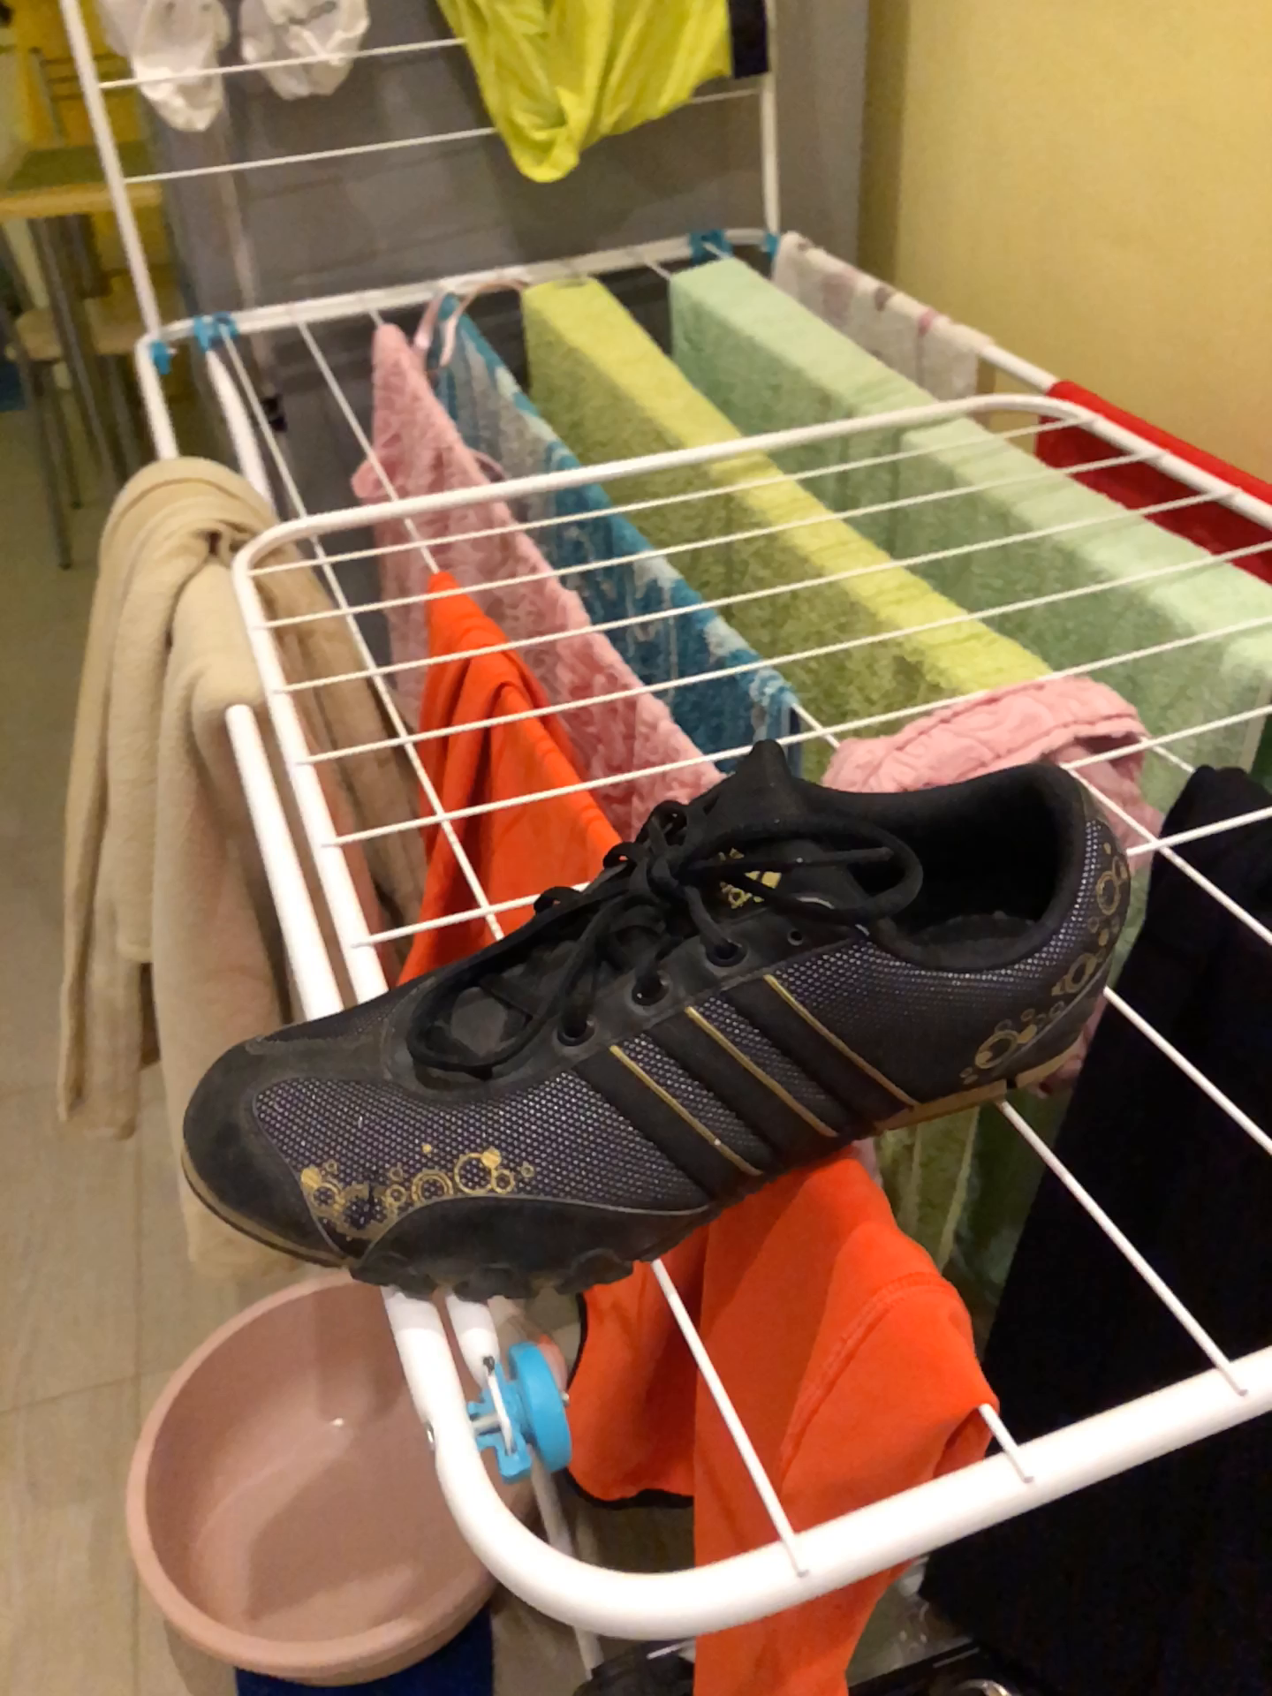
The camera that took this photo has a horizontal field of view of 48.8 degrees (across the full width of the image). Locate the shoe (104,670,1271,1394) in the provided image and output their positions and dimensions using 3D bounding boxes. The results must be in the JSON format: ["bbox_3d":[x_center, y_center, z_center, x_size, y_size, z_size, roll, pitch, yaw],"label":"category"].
[{"bbox_3d":[0.011,0.041,0.370,0.260,0.099,0.099,-10,36,-9],"label":"shoe"}]
